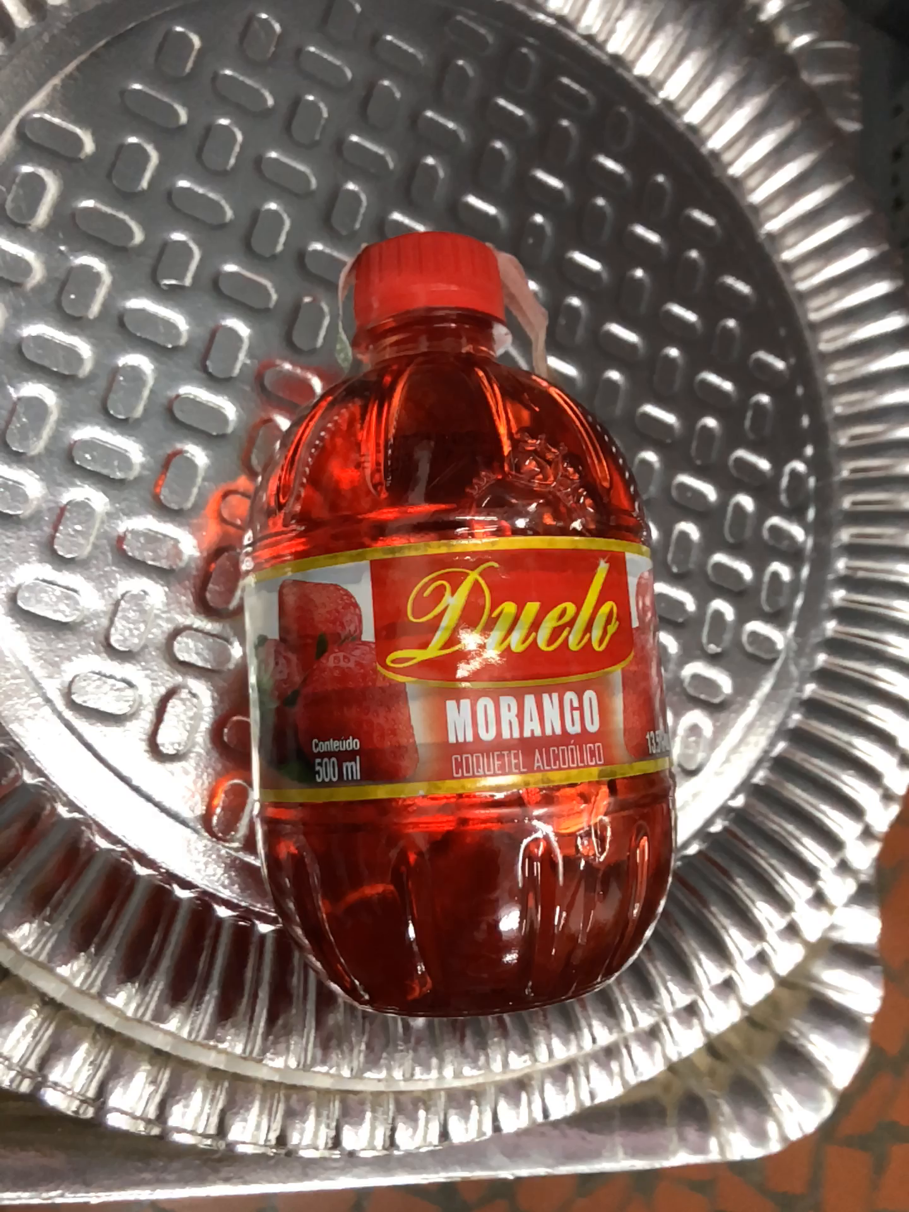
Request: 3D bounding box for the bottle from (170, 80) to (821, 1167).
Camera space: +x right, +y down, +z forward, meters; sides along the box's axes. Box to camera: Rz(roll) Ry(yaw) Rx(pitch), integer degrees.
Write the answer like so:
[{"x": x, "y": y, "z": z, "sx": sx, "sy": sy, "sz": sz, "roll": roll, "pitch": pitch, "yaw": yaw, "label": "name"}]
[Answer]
[{"x": 0.002, "y": 0.001, "z": 0.191, "sx": 0.090, "sy": 0.070, "sz": 0.150, "roll": -1, "pitch": 85, "yaw": -25, "label": "bottle"}]
